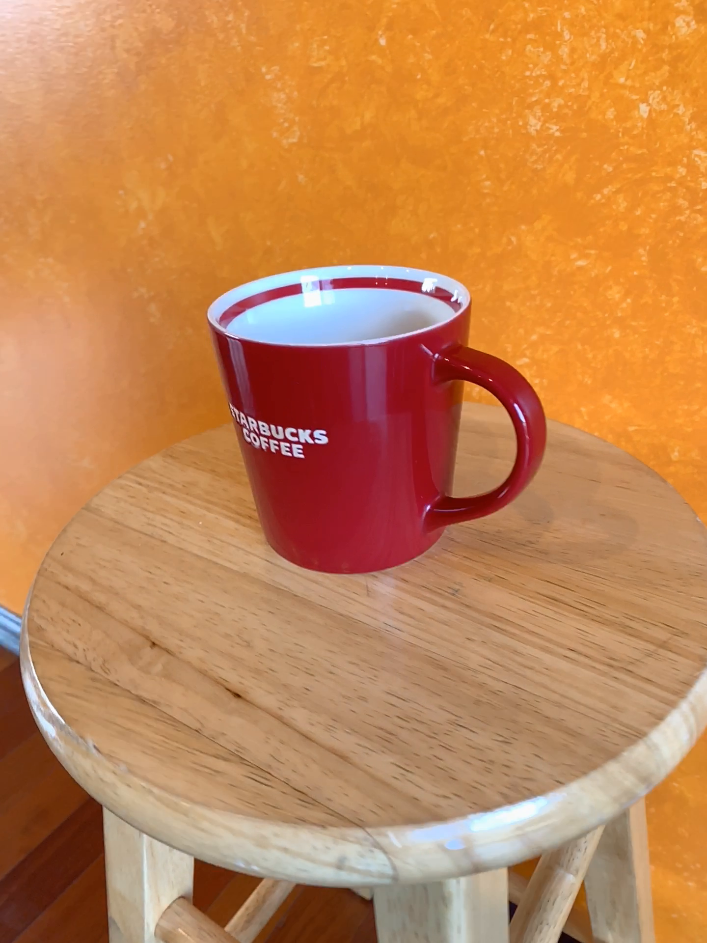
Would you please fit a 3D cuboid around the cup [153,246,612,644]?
[{"bbox_3d":[0.012,-0.024,0.298,0.140,0.099,0.100,18,36,33],"label":"cup"}]
